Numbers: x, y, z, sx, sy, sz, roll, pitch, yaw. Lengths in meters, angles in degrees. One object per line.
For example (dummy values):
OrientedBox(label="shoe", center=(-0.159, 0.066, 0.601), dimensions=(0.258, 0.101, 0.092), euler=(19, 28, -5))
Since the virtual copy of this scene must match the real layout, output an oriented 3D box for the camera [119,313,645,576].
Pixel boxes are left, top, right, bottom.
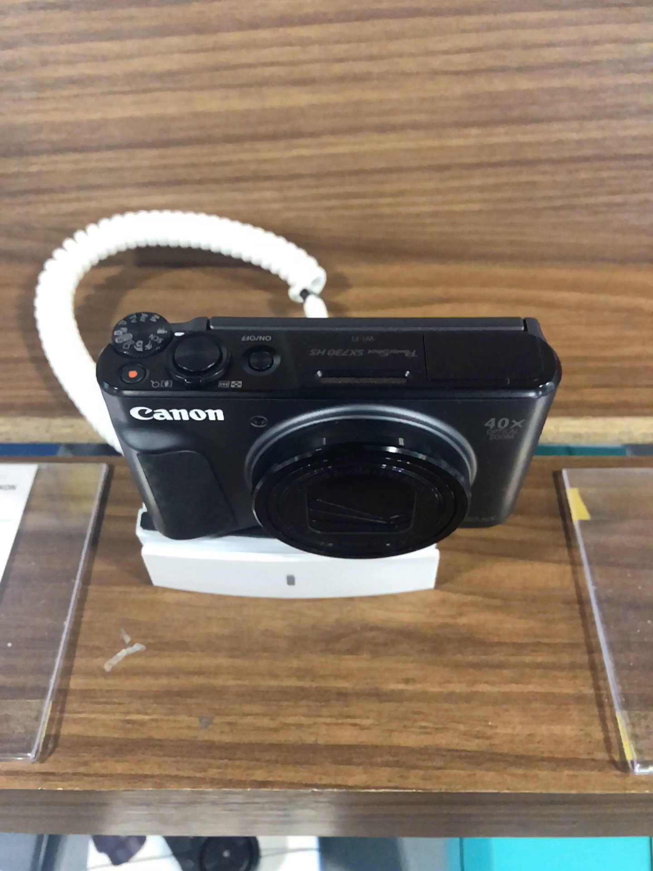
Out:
OrientedBox(label="camera", center=(0.012, 0.005, 0.188), dimensions=(0.109, 0.063, 0.037), euler=(1, 53, 1))
